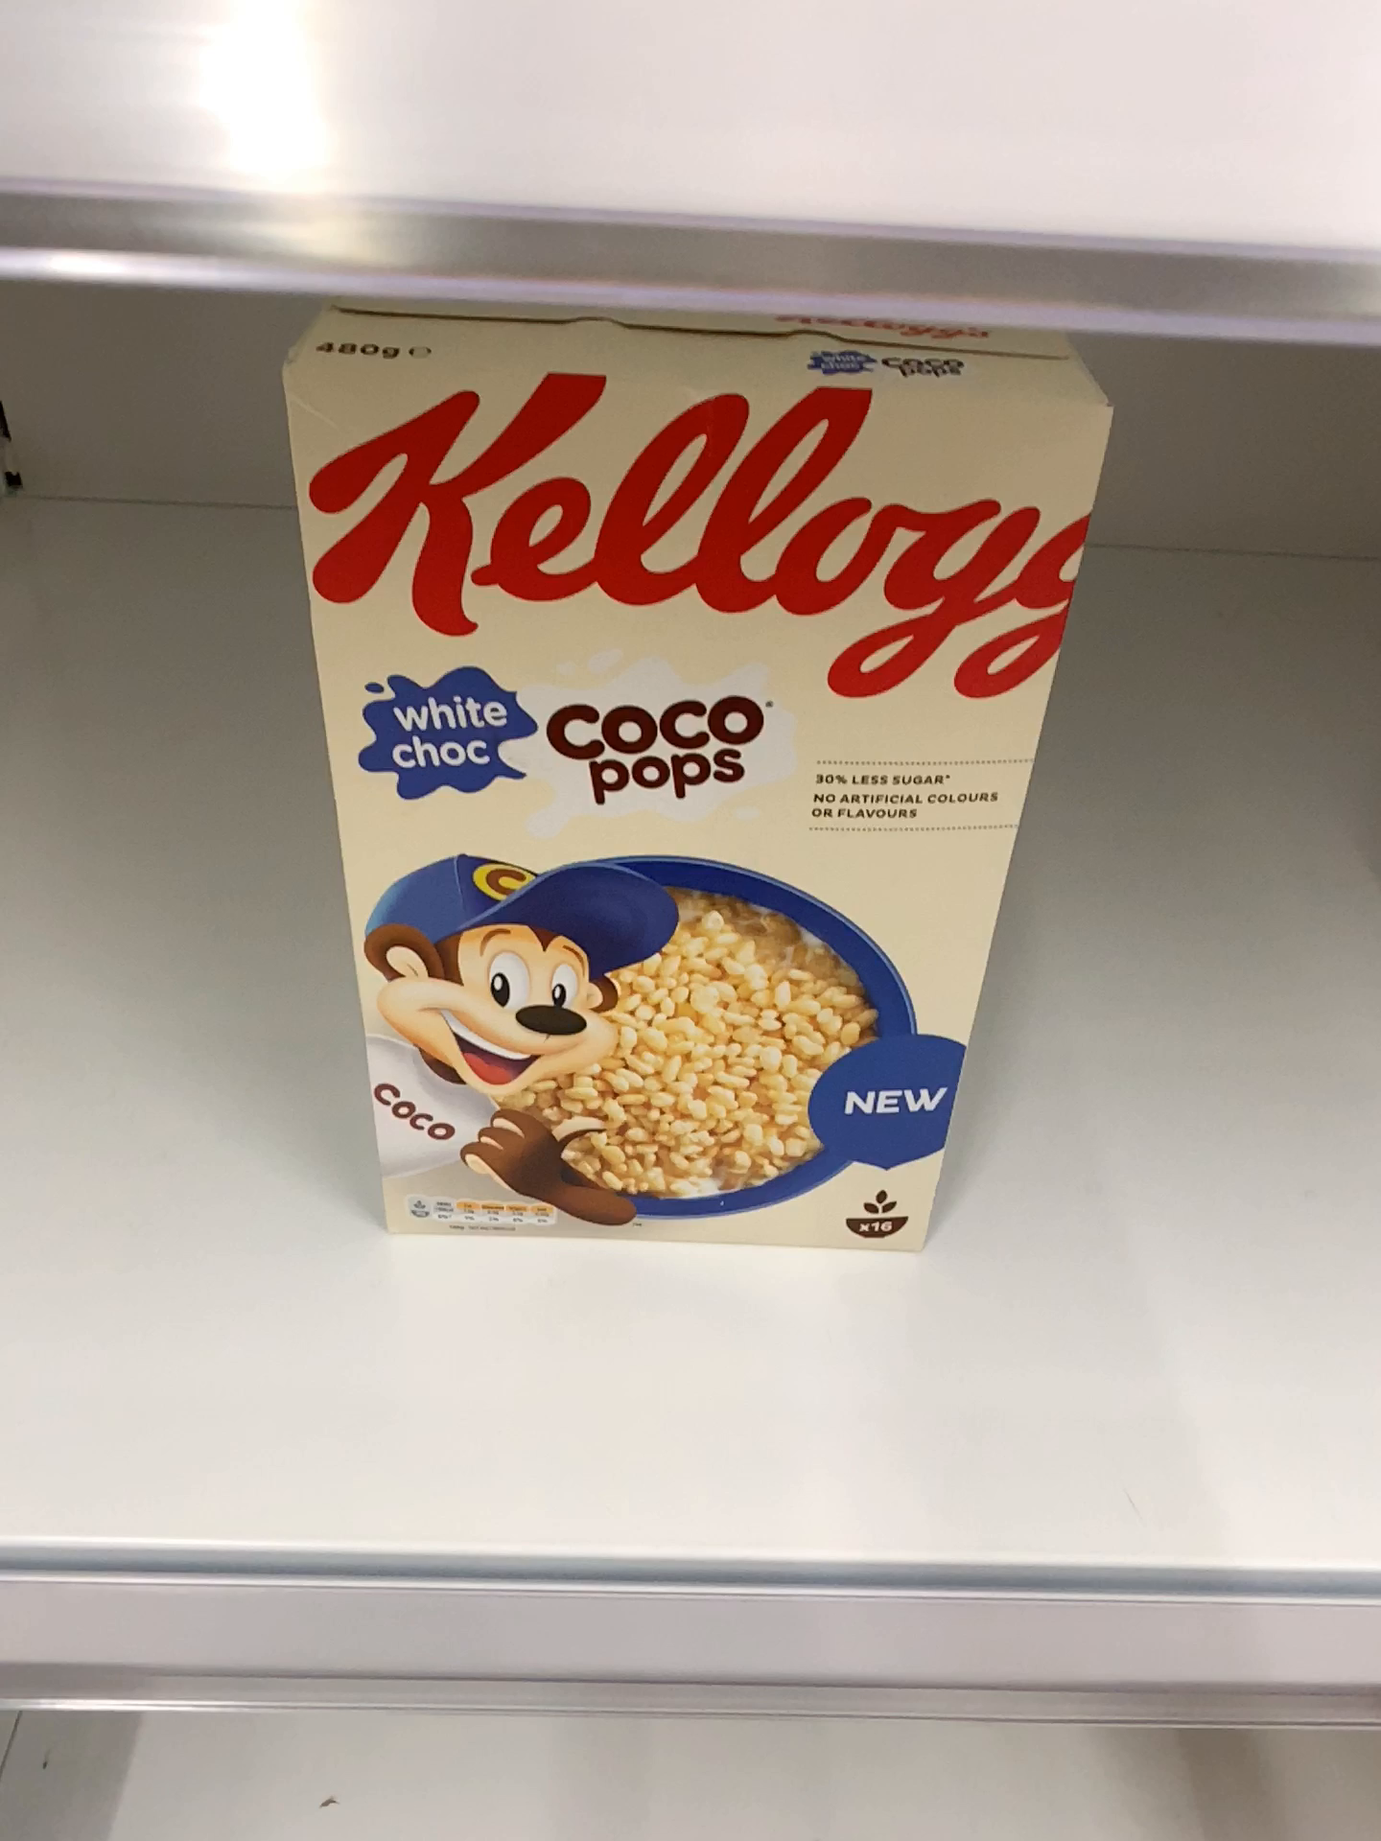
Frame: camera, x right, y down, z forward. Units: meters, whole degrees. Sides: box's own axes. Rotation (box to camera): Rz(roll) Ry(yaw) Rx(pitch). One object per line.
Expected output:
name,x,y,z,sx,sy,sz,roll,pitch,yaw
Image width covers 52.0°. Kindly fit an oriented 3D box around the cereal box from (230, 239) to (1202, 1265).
cereal box,-0.001,-0.028,0.422,0.210,0.297,0.071,3,36,-2
